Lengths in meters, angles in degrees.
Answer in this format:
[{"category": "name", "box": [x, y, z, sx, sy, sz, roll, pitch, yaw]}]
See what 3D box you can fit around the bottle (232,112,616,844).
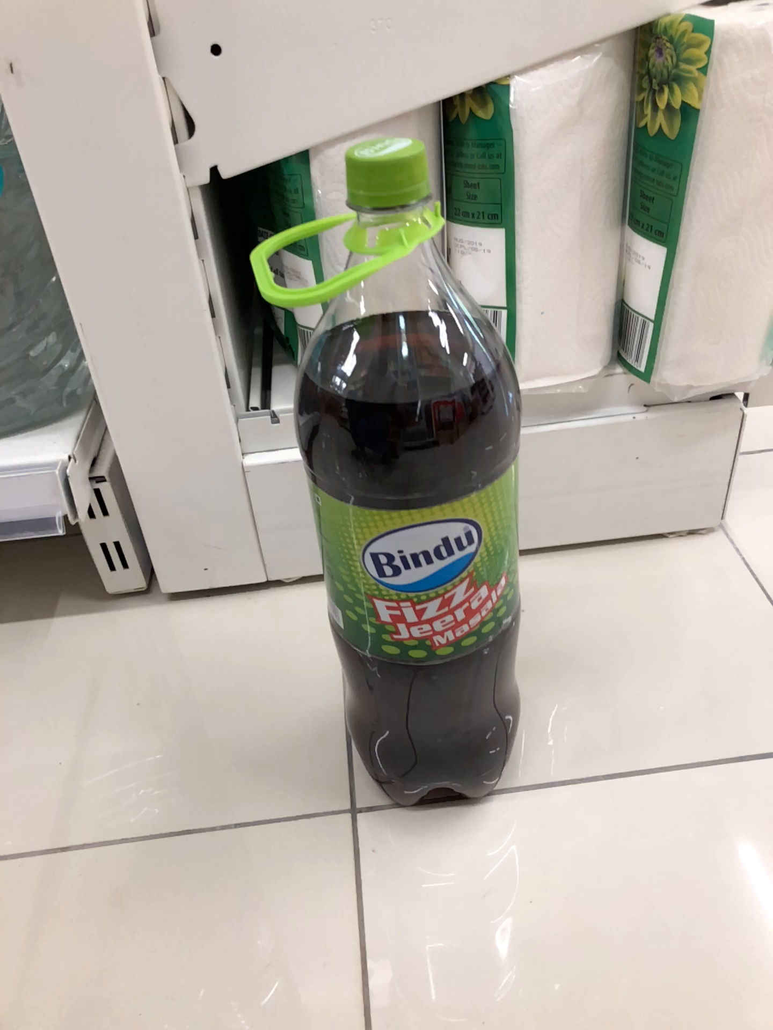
[{"category": "bottle", "box": [0.017, 0.003, 0.371, 0.110, 0.298, 0.101, -4, 37, 3]}]
